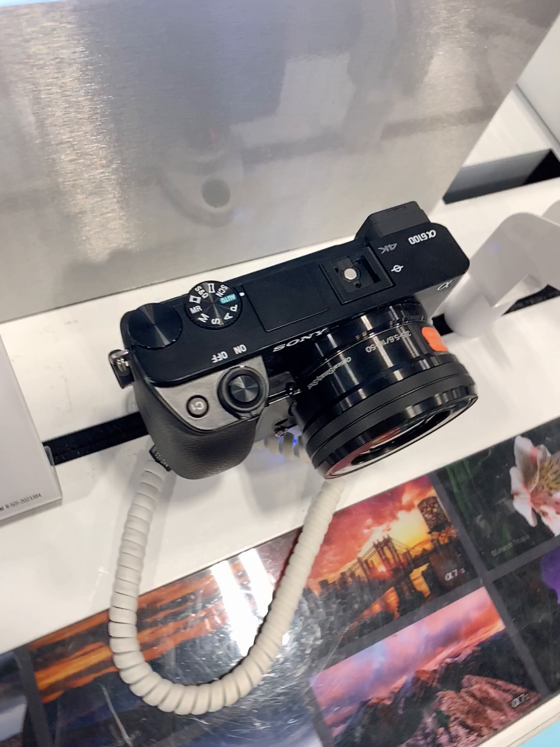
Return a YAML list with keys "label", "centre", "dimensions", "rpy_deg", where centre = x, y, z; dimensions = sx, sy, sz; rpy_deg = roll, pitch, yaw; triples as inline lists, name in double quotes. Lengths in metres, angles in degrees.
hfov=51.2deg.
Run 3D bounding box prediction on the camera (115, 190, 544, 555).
- label: "camera"
  centre: [0.014, 0.000, 0.214]
  dimensions: [0.121, 0.070, 0.070]
  rpy_deg: [-26, 75, -21]
